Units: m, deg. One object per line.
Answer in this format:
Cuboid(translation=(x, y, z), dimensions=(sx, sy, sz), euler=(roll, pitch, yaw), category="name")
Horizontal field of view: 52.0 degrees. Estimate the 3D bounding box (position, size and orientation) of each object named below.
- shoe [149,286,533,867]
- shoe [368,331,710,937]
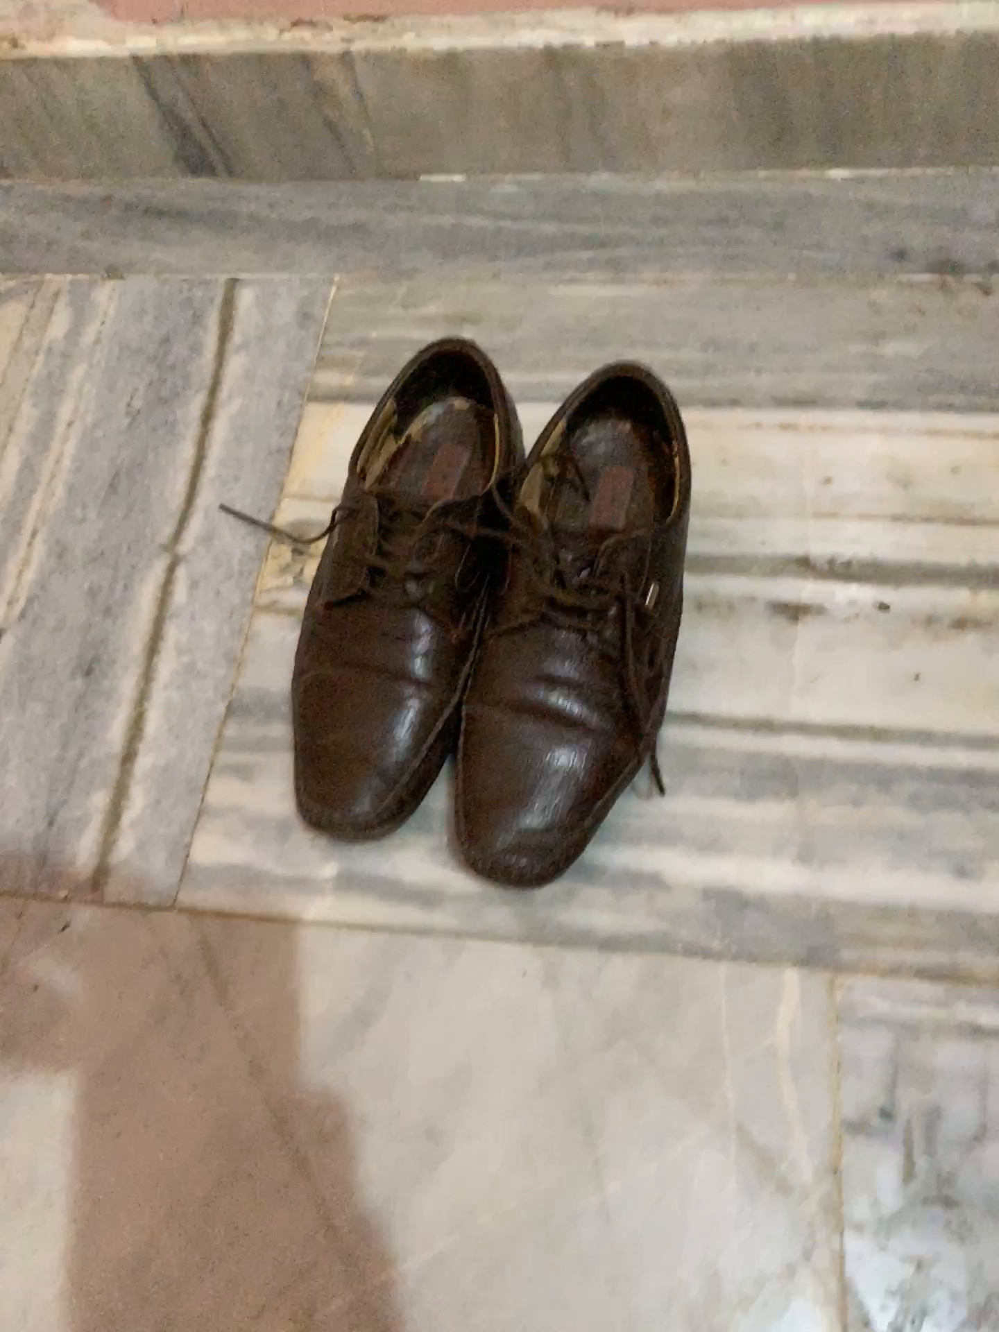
Cuboid(translation=(-0.067, -0.053, 0.549), dimensions=(0.100, 0.110, 0.282), euler=(10, 65, 11), category="shoe")
Cuboid(translation=(0.032, -0.022, 0.531), dimensions=(0.100, 0.110, 0.282), euler=(10, 65, 11), category="shoe")
